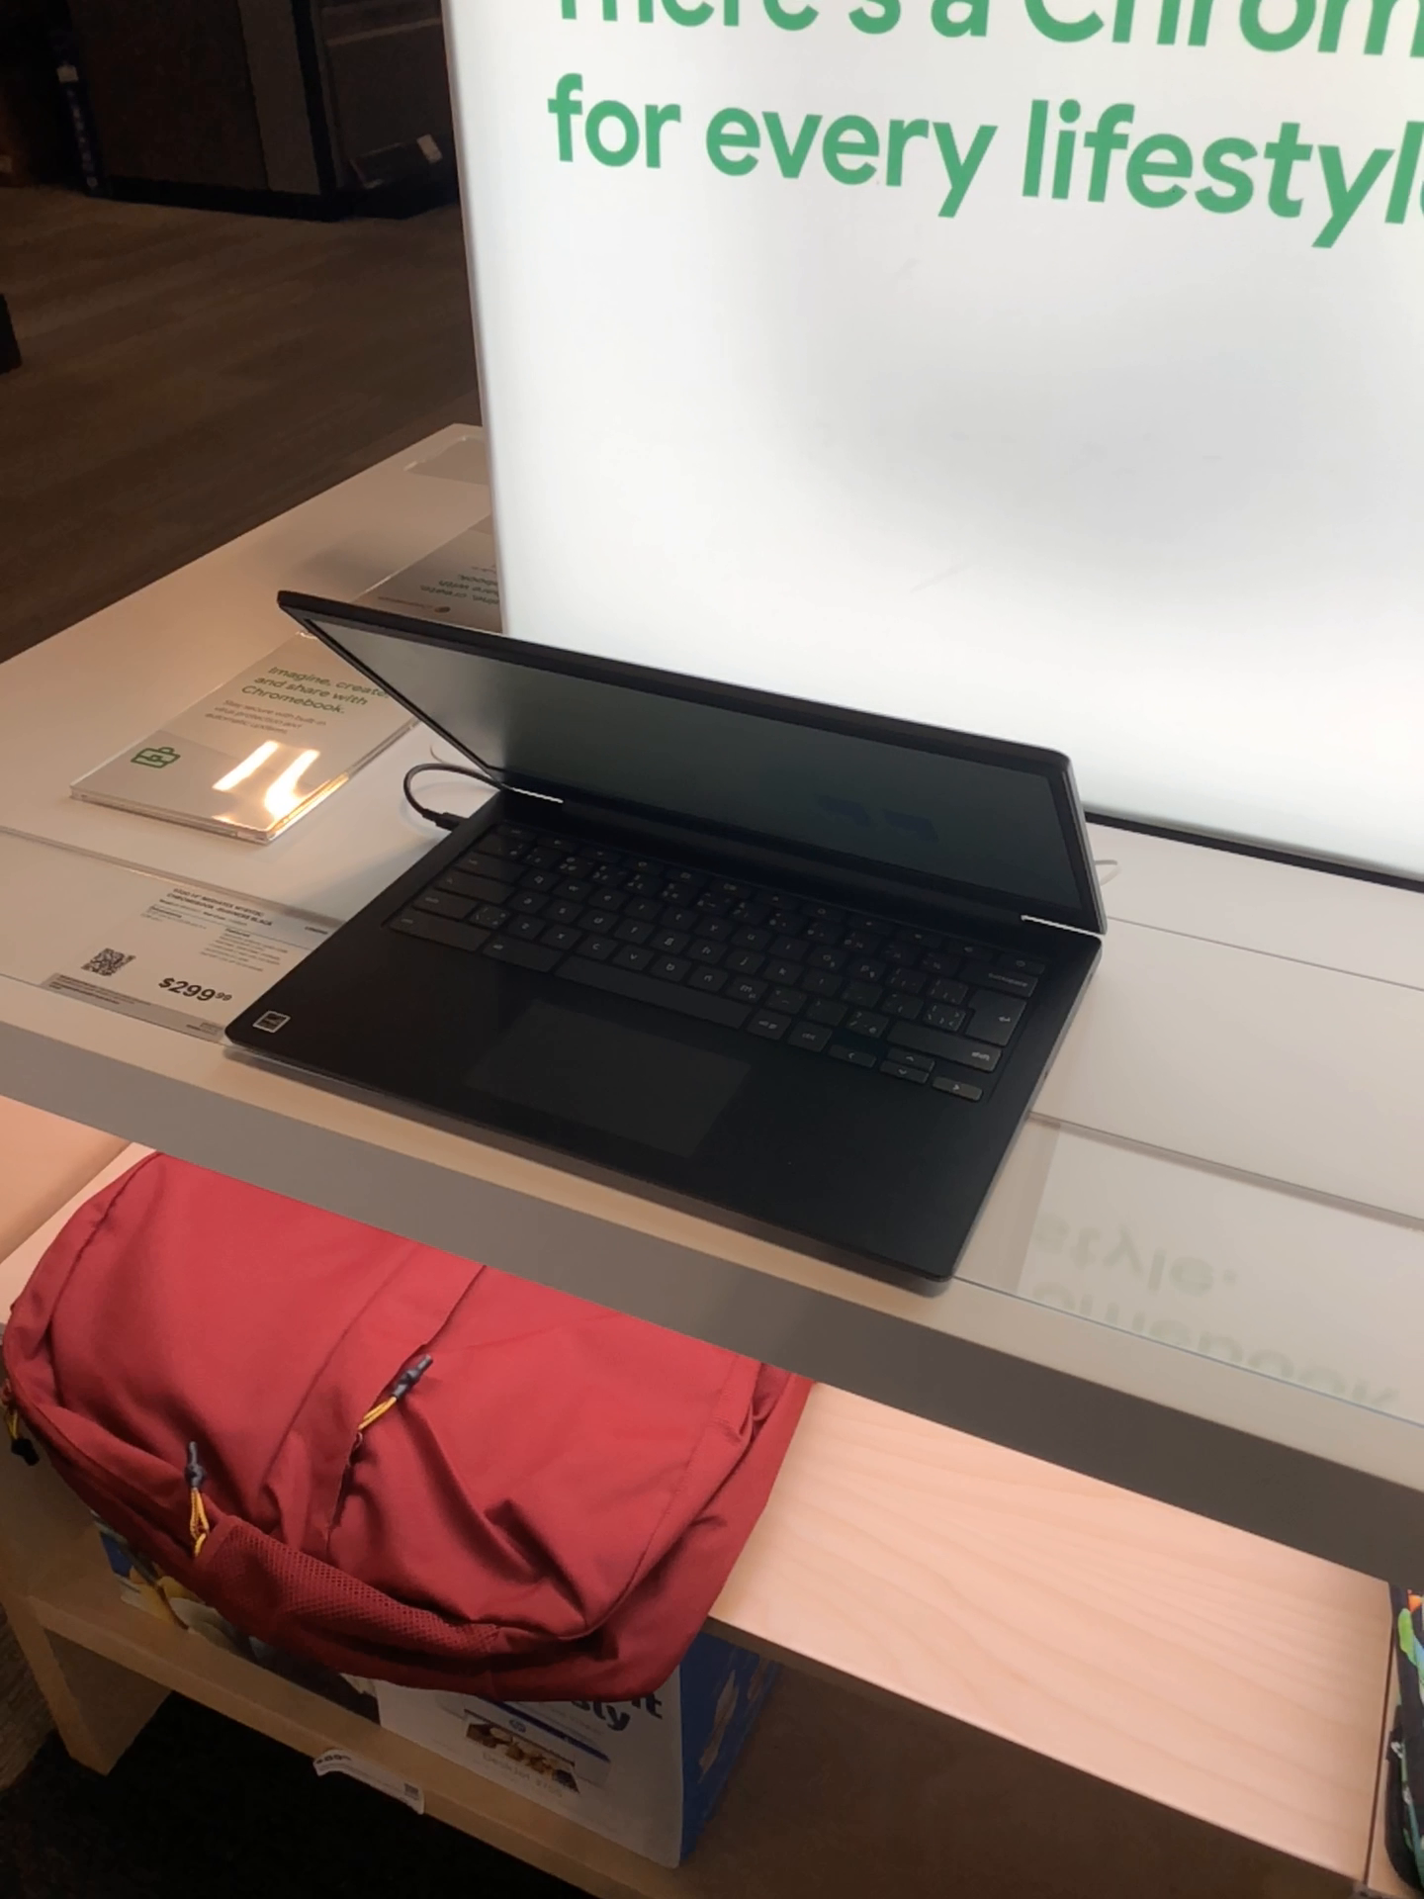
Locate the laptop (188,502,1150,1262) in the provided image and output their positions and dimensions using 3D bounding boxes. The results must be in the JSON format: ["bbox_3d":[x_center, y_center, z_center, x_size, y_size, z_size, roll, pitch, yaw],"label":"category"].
[{"bbox_3d":[-0.010,-0.049,0.643,0.307,0.157,0.214,15,40,22],"label":"laptop"}]
